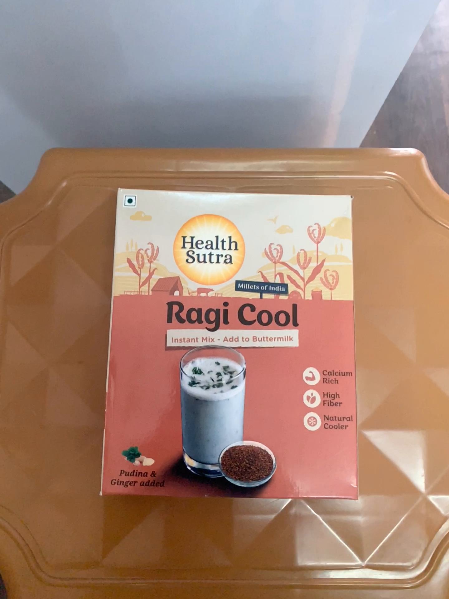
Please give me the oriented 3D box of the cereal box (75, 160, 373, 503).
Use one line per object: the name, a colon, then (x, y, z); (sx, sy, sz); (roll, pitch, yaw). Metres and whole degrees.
cereal box: (0.001, 0.014, 0.252); (0.140, 0.040, 0.170); (1, 81, 0)
